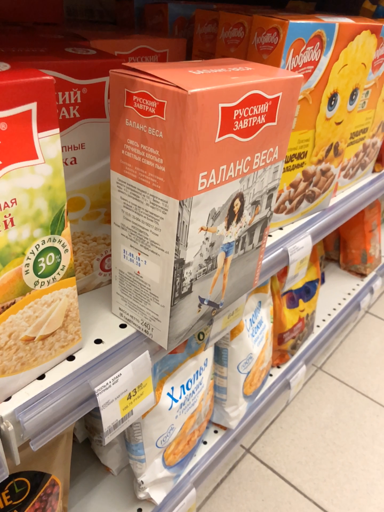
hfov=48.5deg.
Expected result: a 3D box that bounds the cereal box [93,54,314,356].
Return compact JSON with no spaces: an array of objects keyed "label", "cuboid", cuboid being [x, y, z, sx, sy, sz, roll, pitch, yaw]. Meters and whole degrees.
[{"label":"cereal box","cuboid":[0.007,-0.045,0.319,0.070,0.179,0.141,27,38,30]}]
